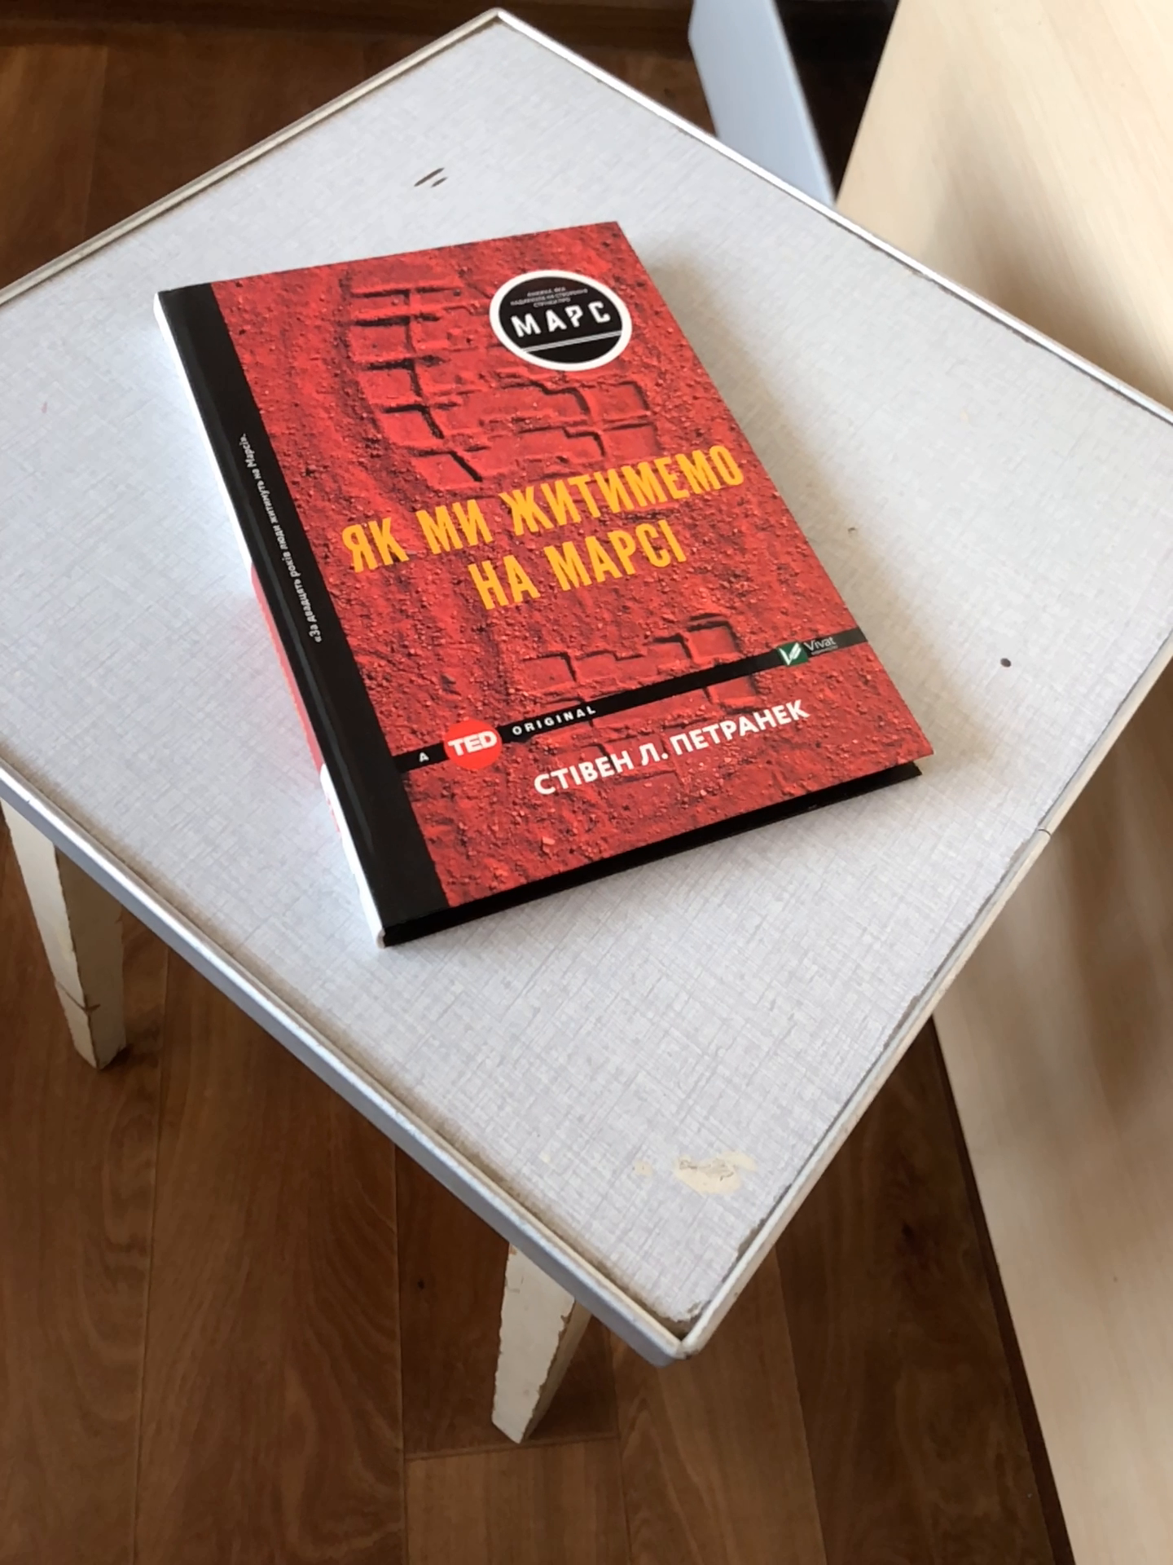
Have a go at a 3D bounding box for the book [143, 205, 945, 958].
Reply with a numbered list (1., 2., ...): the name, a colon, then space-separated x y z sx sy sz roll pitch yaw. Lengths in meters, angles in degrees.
1. book: -0.020 -0.071 0.353 0.150 0.020 0.209 -16 64 -16
